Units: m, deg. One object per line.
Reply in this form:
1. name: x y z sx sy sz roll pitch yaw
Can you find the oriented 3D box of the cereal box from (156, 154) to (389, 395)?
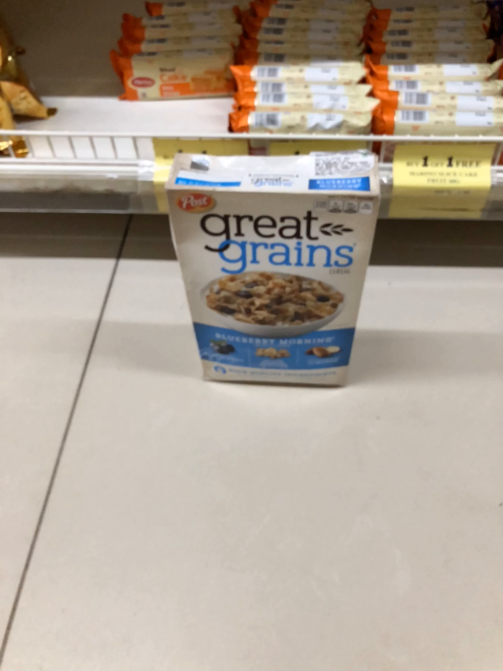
1. cereal box: 0.021 -0.041 0.530 0.170 0.259 0.060 2 53 4
